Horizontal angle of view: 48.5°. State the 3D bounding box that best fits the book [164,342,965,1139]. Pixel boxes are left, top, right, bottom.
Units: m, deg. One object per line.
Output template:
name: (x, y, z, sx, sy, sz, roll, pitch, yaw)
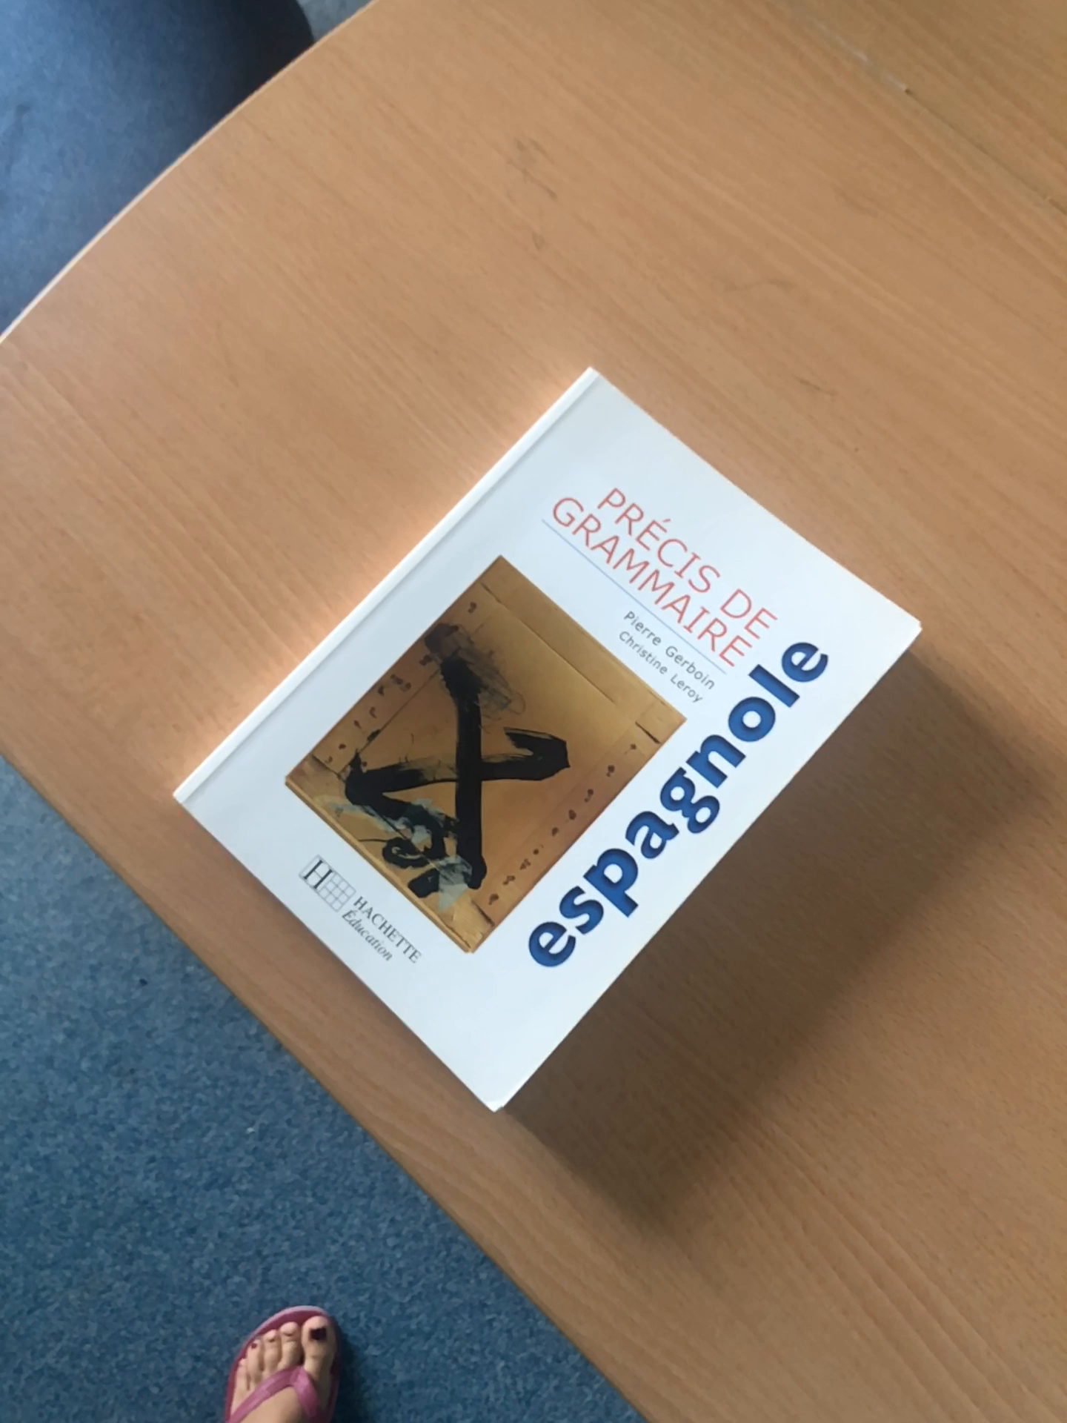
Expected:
book: (0.012, 0.002, 0.445, 0.180, 0.020, 0.240, 41, 82, 11)
